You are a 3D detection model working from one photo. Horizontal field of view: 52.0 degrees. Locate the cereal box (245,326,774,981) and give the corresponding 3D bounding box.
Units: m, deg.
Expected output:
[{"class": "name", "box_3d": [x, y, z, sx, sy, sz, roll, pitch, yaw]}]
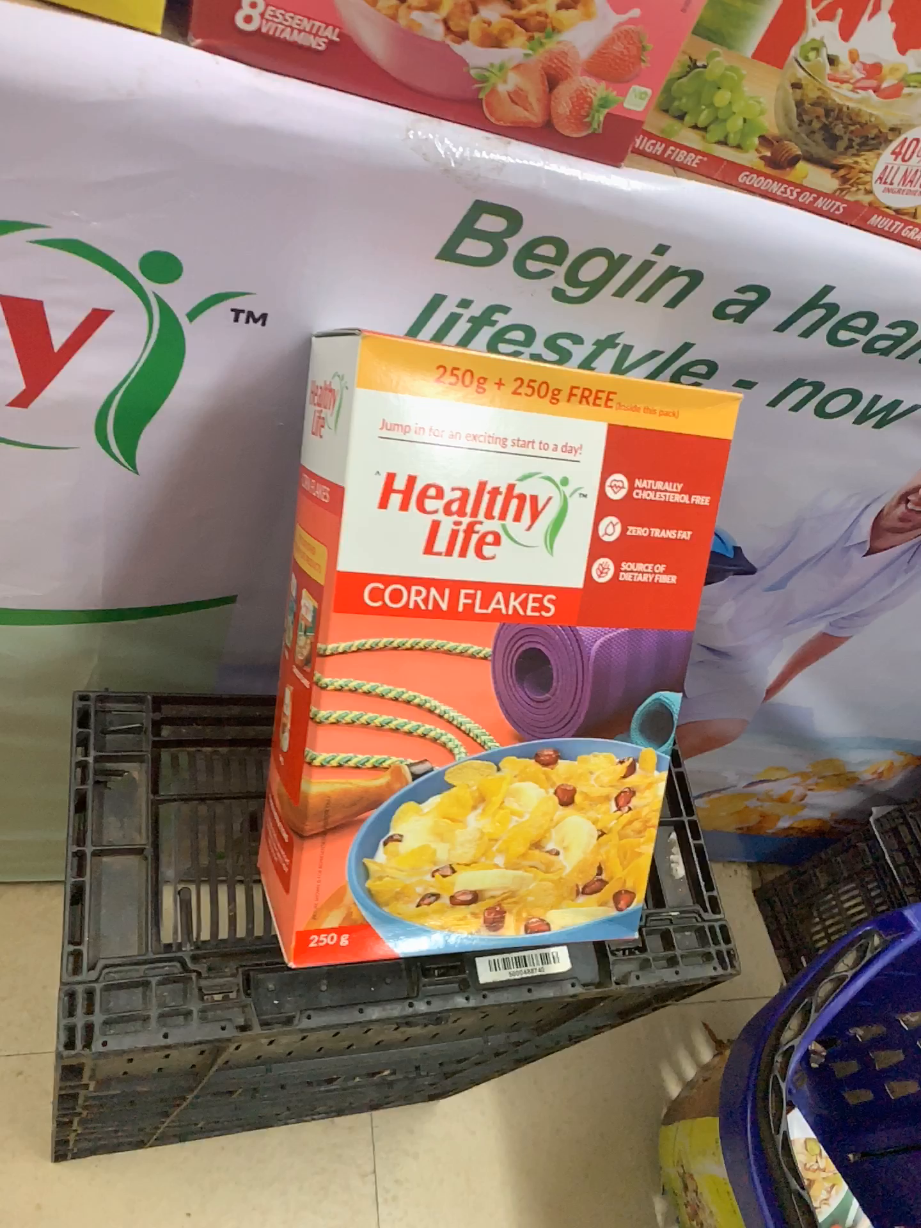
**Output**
[{"class": "cereal box", "box_3d": [0.015, 0.021, 0.464, 0.200, 0.280, 0.090, 3, 13, -21]}]
